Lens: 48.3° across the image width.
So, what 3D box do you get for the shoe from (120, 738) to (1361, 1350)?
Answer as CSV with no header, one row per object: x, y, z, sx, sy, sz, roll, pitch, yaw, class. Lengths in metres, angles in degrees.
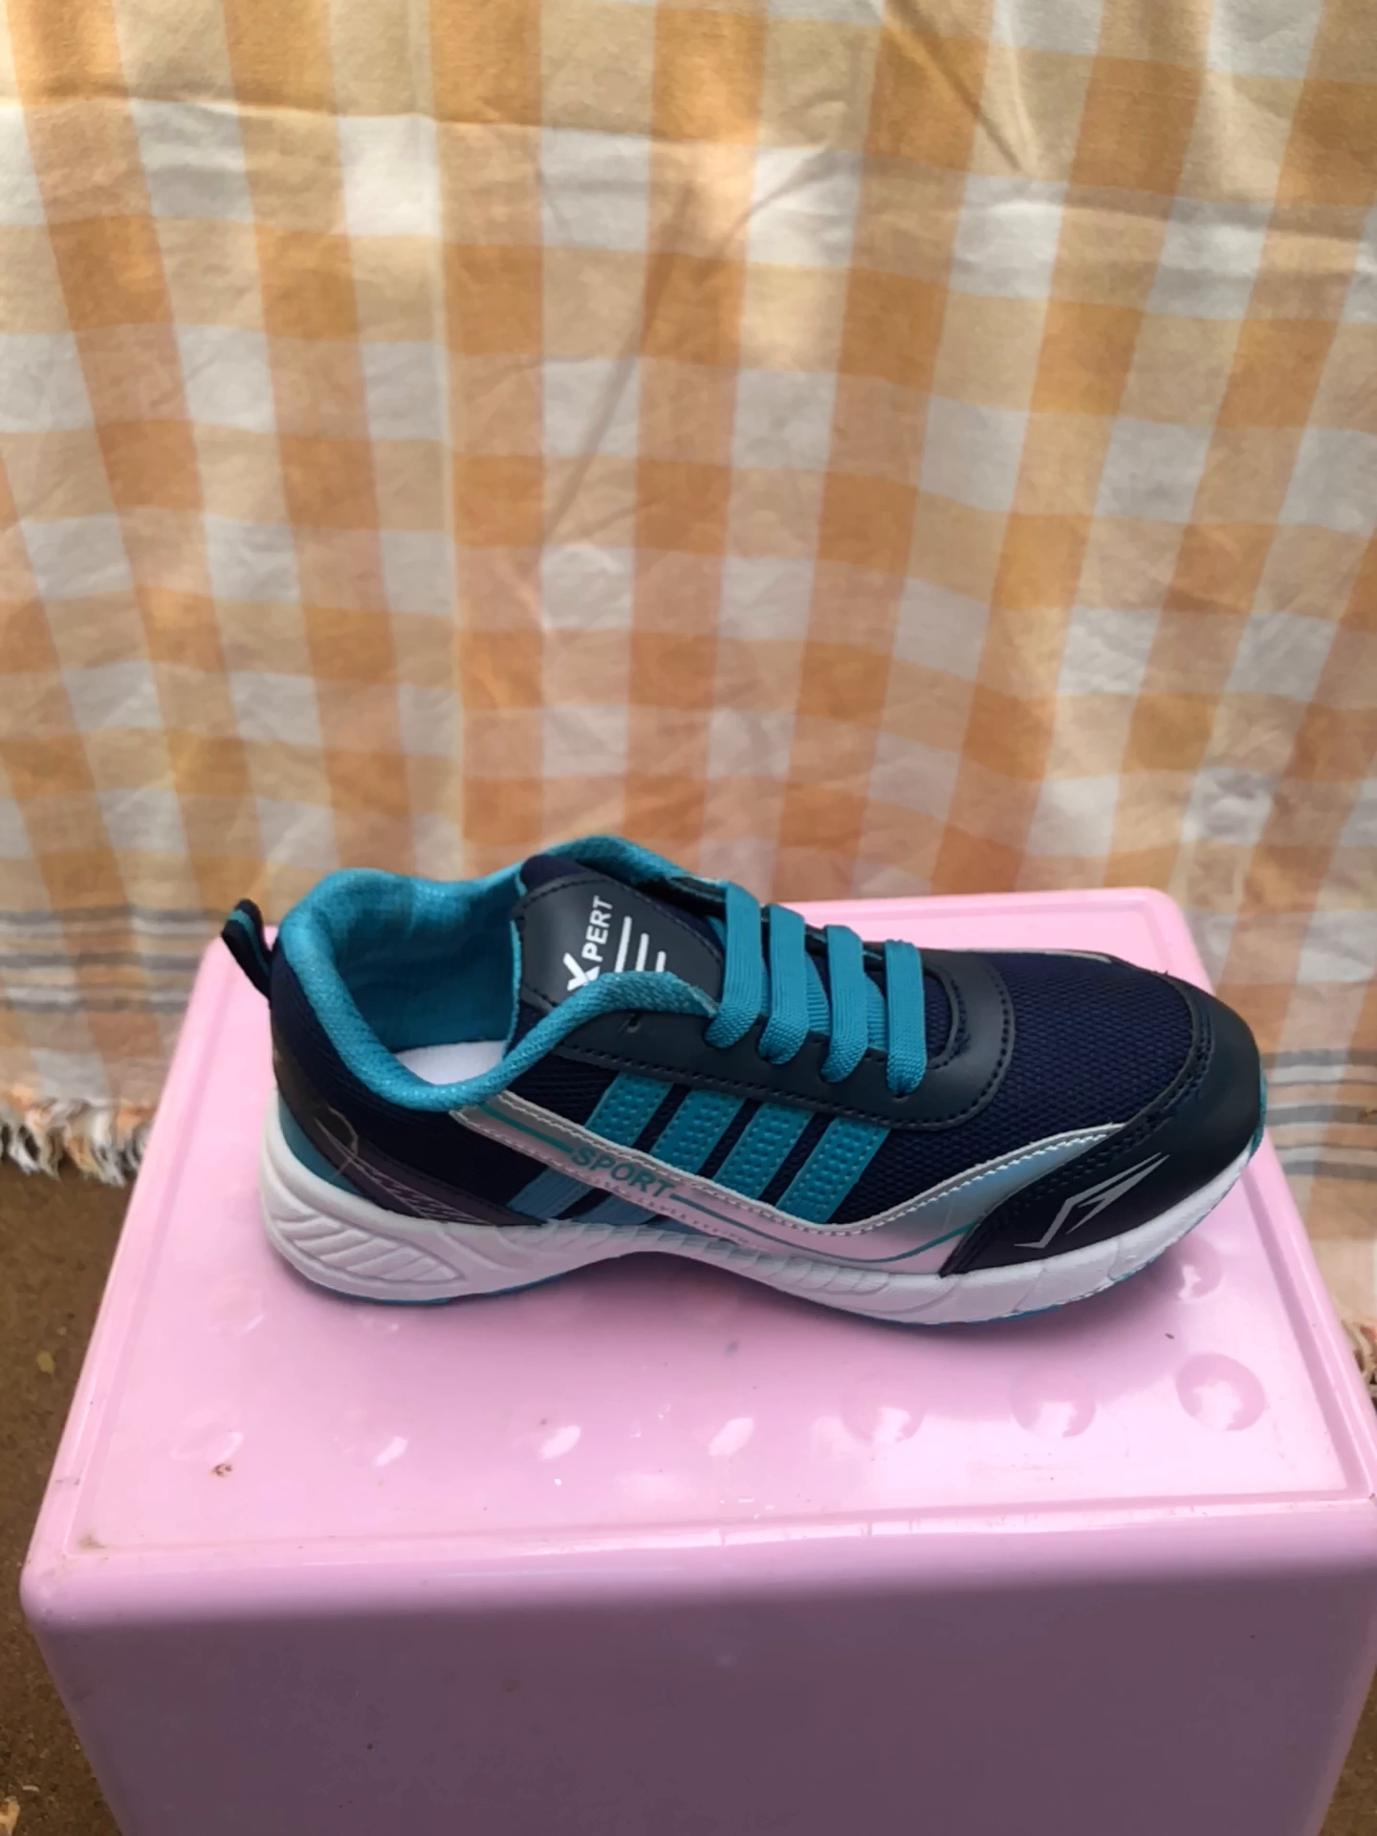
0.012,0.033,0.411,0.270,0.109,0.111,2,42,0,shoe
